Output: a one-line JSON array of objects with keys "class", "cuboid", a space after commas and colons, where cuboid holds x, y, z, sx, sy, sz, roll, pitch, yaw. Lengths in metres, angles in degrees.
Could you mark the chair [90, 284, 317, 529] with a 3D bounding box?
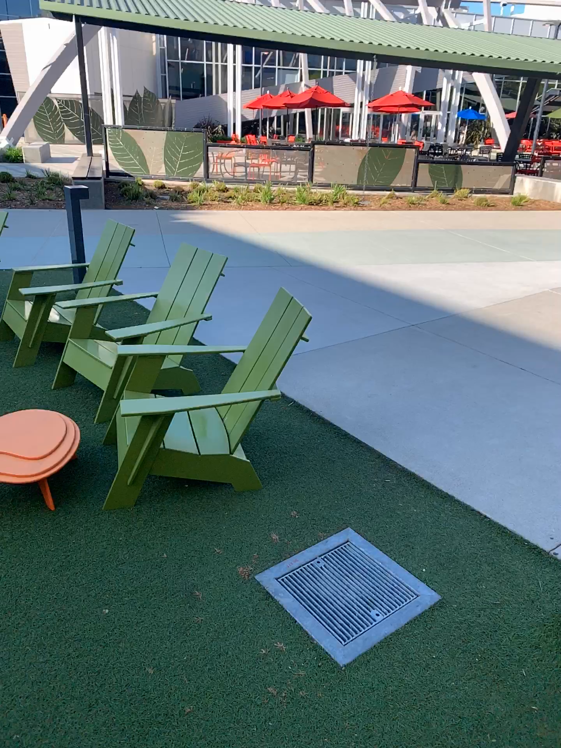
[{"class": "chair", "cuboid": [-0.354, 0.101, 2.644, 0.850, 0.855, 0.714, -2, 24, -10]}]
